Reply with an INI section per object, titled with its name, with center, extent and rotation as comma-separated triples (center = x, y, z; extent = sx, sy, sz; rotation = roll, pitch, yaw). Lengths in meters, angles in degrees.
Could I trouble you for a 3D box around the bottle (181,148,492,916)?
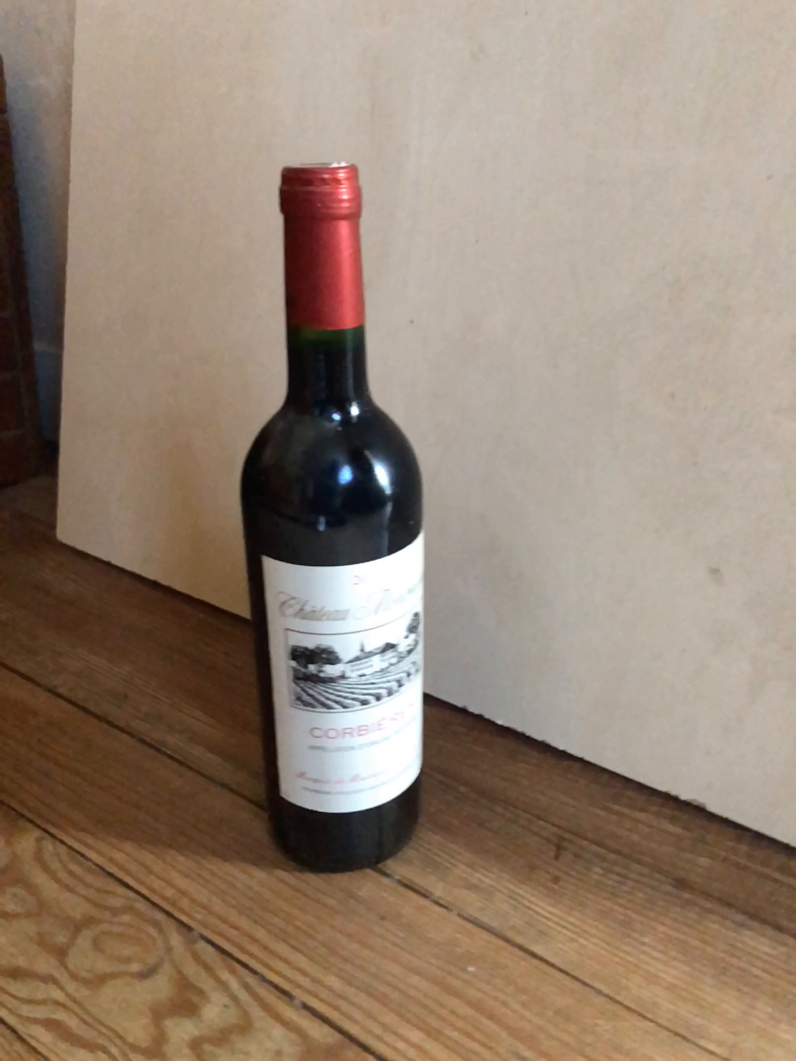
[bottle]
center = -0.022, 0.010, 0.347
extent = 0.080, 0.288, 0.070
rotation = -12, 29, -22
